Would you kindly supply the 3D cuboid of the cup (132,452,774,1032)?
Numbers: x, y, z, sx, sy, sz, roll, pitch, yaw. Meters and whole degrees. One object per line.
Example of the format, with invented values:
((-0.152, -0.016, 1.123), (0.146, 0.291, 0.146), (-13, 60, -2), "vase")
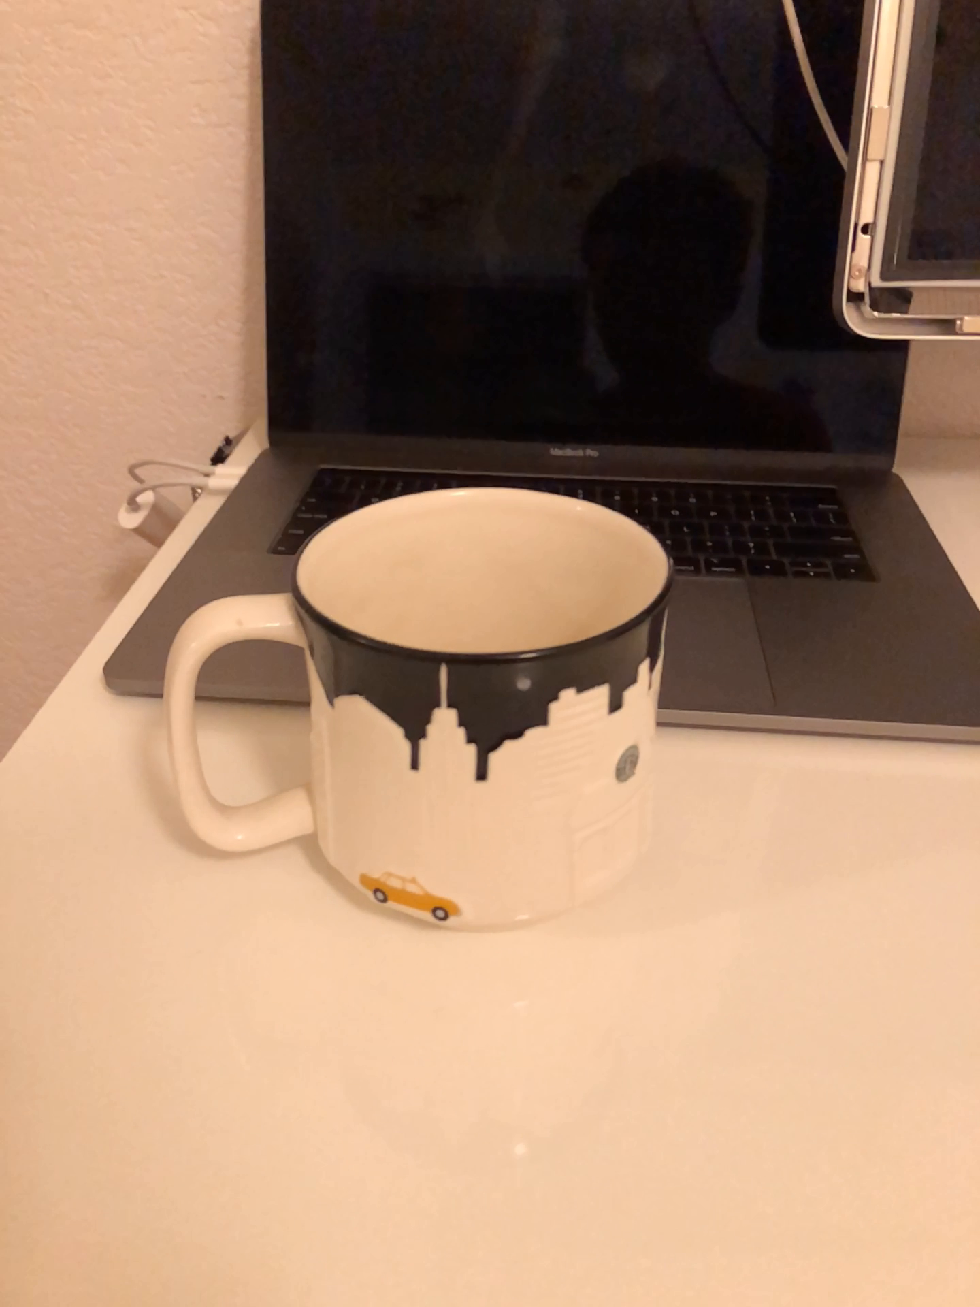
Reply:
((-0.018, 0.016, 0.316), (0.150, 0.099, 0.111), (-9, 33, -13), "cup")
